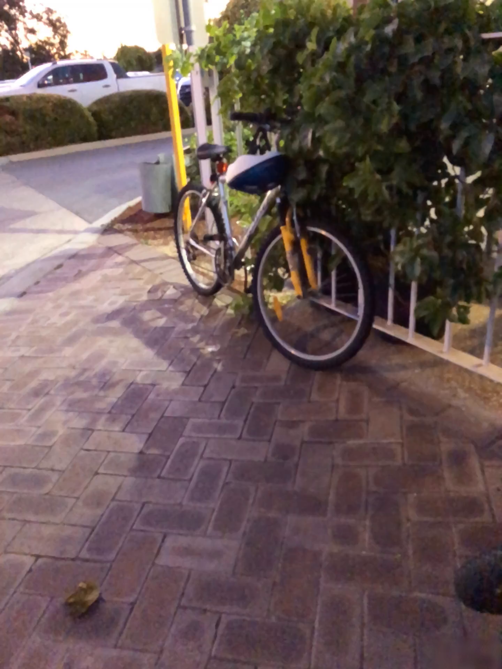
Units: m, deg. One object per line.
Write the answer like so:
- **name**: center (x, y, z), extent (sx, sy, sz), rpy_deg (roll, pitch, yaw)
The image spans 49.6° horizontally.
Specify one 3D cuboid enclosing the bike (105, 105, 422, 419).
- **bike**: center (-0.068, -0.511, 2.543), extent (0.552, 0.995, 1.700), rpy_deg (-18, 28, -27)
